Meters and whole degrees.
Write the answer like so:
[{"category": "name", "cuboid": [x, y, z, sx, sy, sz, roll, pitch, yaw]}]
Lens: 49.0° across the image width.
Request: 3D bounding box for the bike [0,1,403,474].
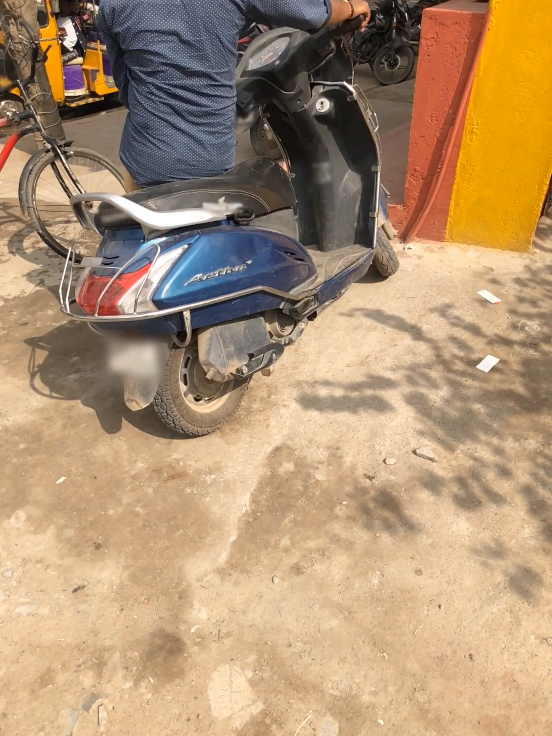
[{"category": "bike", "cuboid": [-0.122, -0.658, 2.356, 0.624, 1.187, 1.644, 17, 39, 22]}]
